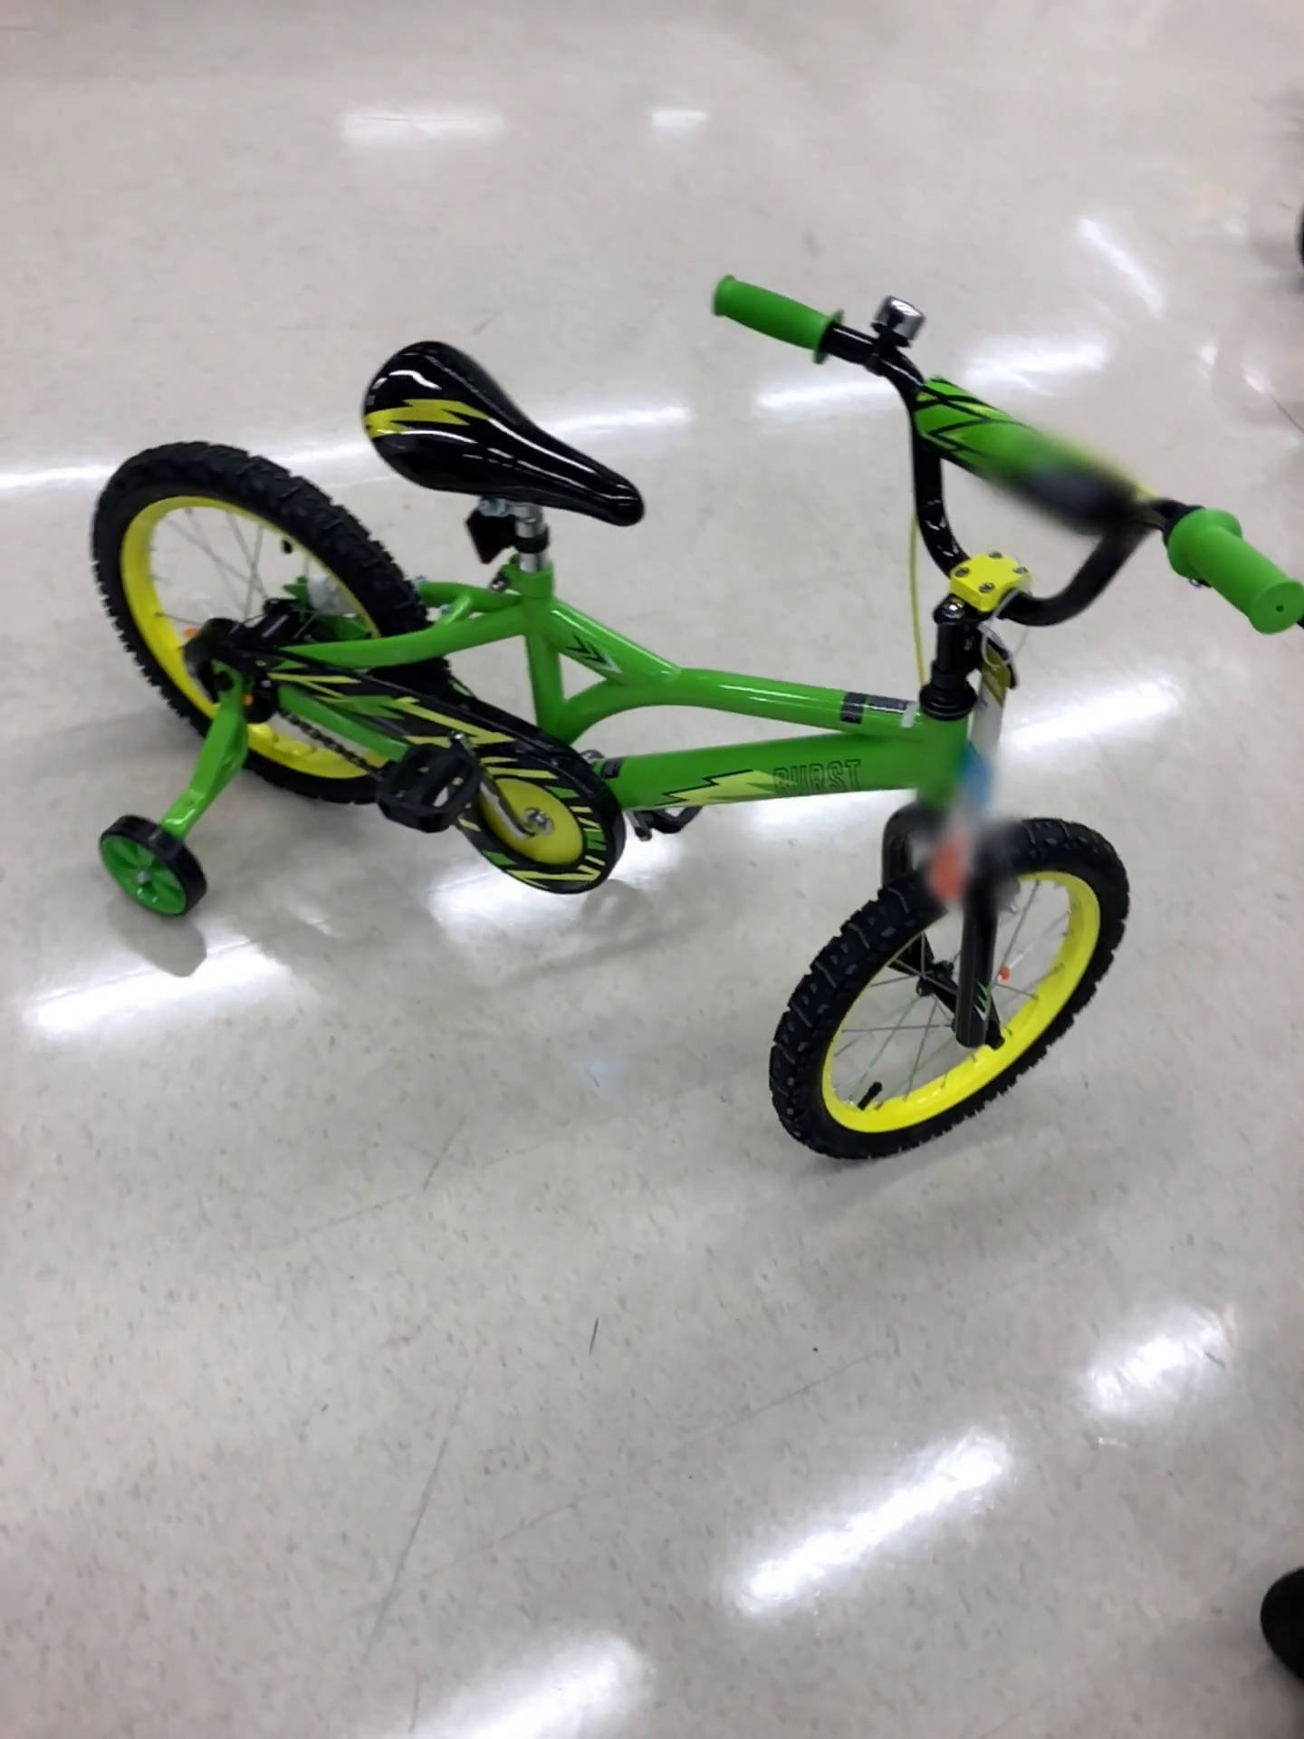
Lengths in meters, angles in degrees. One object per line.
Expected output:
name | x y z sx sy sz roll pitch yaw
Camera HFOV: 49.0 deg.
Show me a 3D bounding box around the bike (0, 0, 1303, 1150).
bike | 0.020 -0.303 1.173 1.044 0.807 0.554 19 53 4
